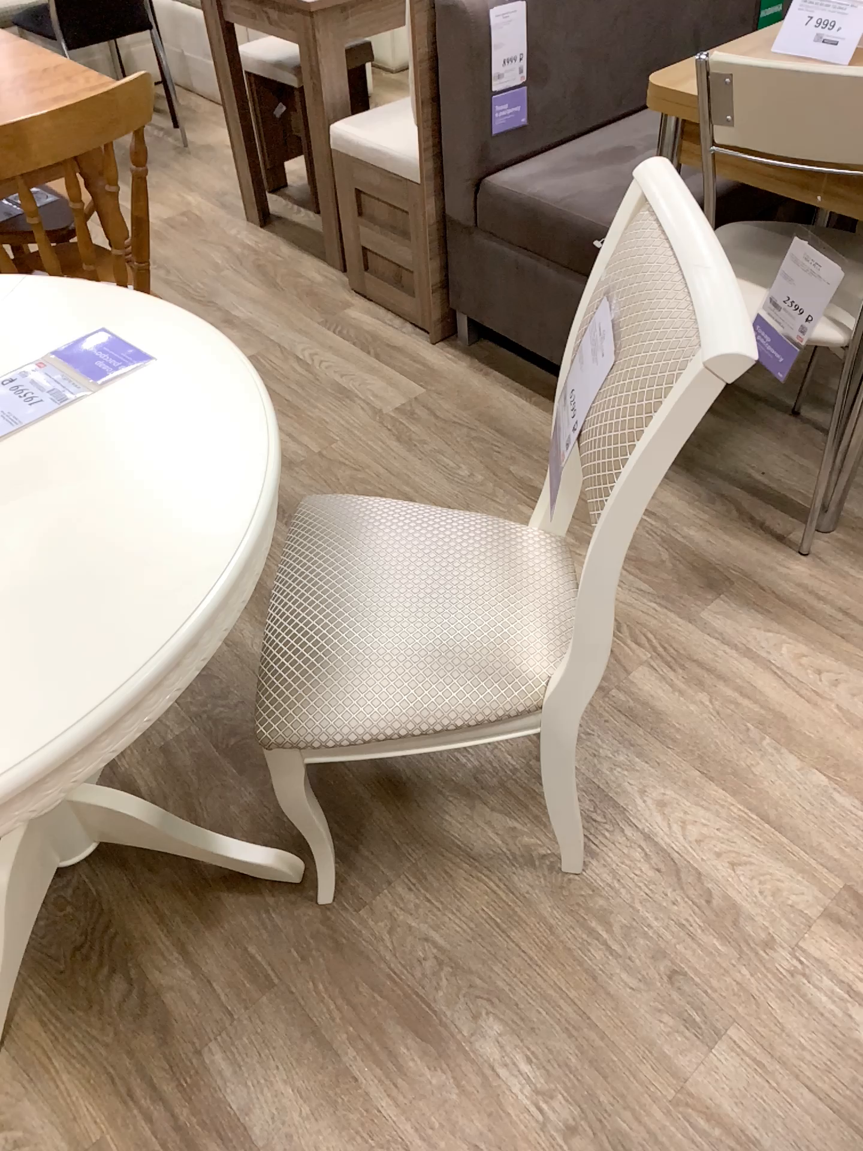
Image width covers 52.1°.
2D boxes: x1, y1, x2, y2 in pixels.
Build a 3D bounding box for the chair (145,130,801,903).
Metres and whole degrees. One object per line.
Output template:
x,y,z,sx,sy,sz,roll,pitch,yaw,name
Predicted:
0.041,-0.009,1.169,0.510,0.905,0.462,-5,45,0,chair
